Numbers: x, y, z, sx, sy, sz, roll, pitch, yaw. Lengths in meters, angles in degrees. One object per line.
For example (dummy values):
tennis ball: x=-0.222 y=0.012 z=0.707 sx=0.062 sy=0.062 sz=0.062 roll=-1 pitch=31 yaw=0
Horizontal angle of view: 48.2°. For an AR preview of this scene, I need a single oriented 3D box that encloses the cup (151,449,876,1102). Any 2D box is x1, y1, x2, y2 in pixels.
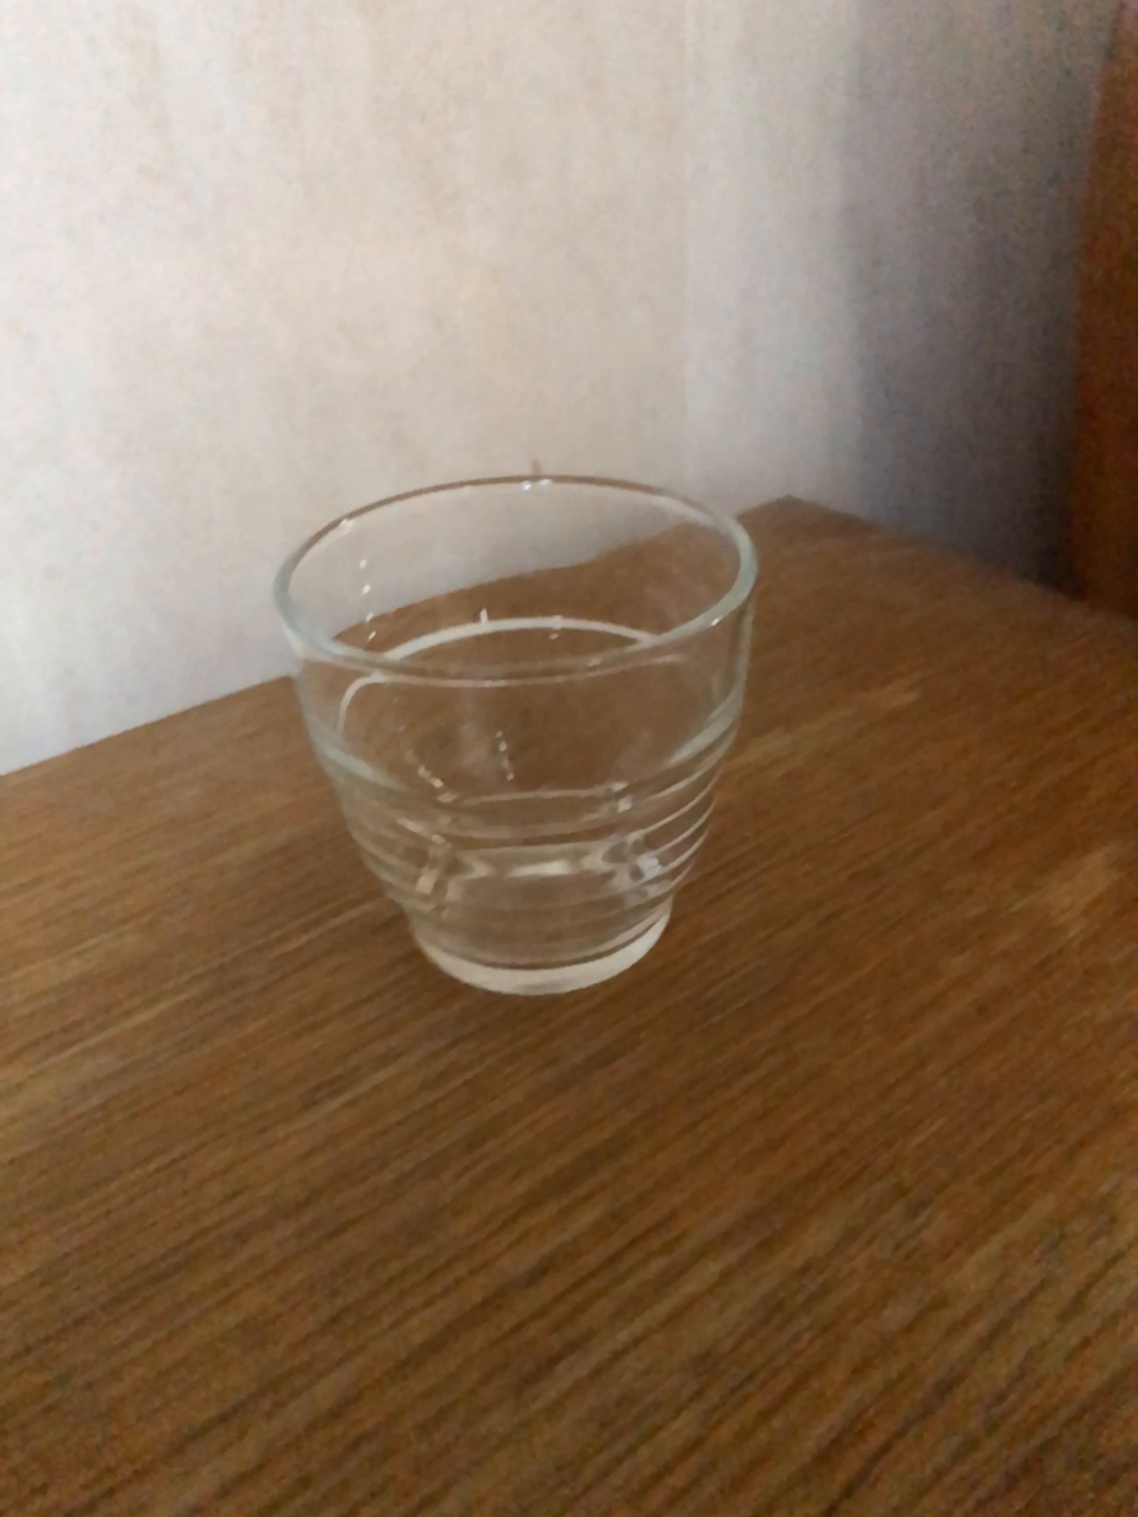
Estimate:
cup: x=-0.004 y=-0.006 z=0.208 sx=0.080 sy=0.060 sz=0.081 roll=-2 pitch=30 yaw=1
